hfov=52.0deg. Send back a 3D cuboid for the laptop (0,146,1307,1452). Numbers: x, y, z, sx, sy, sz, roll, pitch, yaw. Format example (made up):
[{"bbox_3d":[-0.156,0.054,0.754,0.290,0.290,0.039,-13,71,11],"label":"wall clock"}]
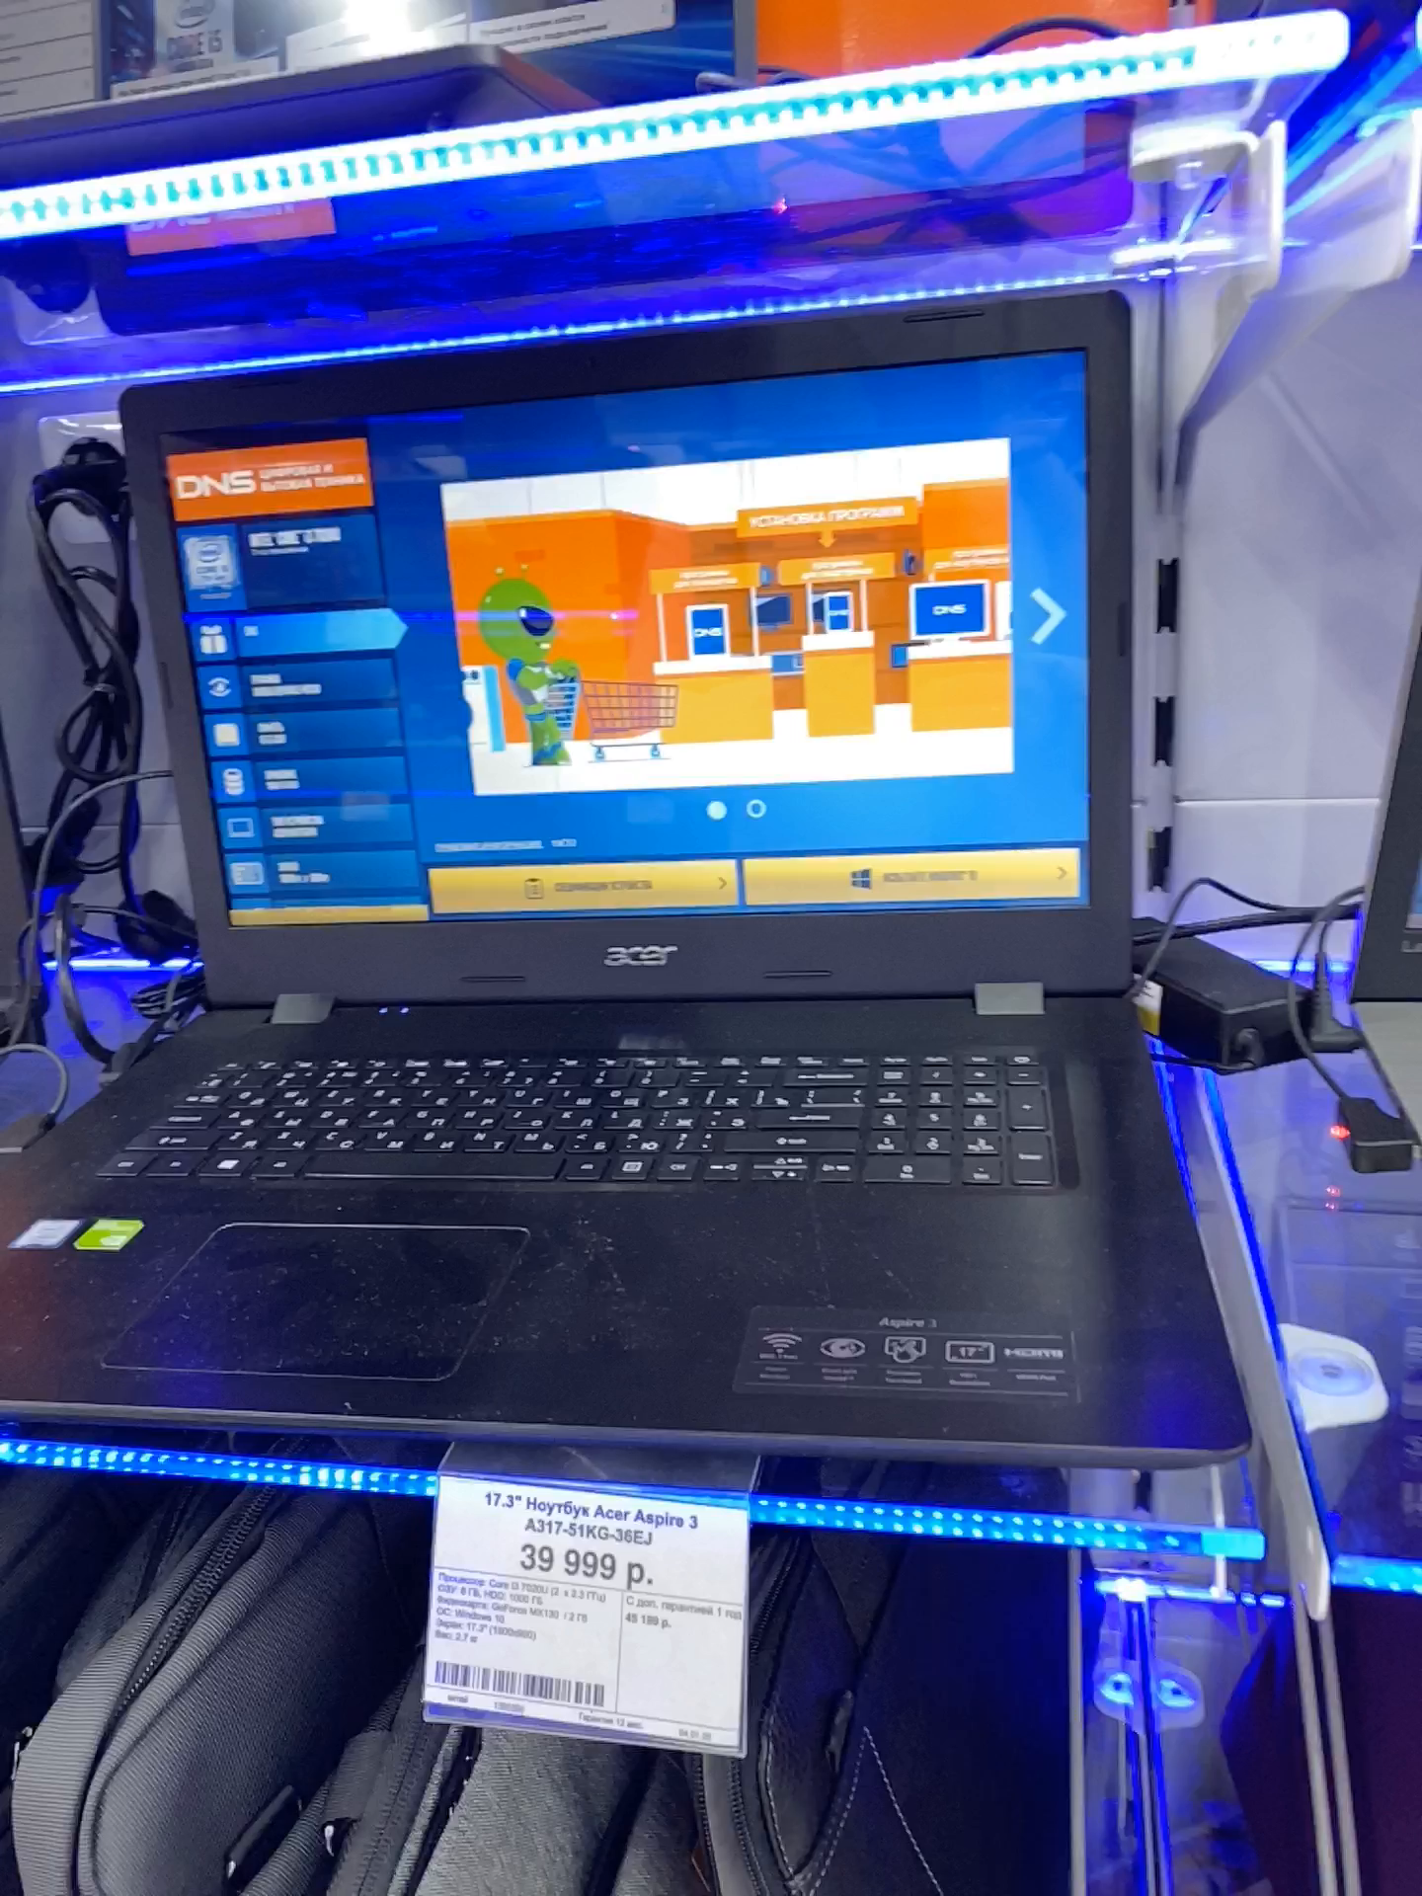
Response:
[{"bbox_3d":[-0.066,-0.063,0.491,0.422,0.273,0.328,-1,19,11],"label":"laptop"}]
